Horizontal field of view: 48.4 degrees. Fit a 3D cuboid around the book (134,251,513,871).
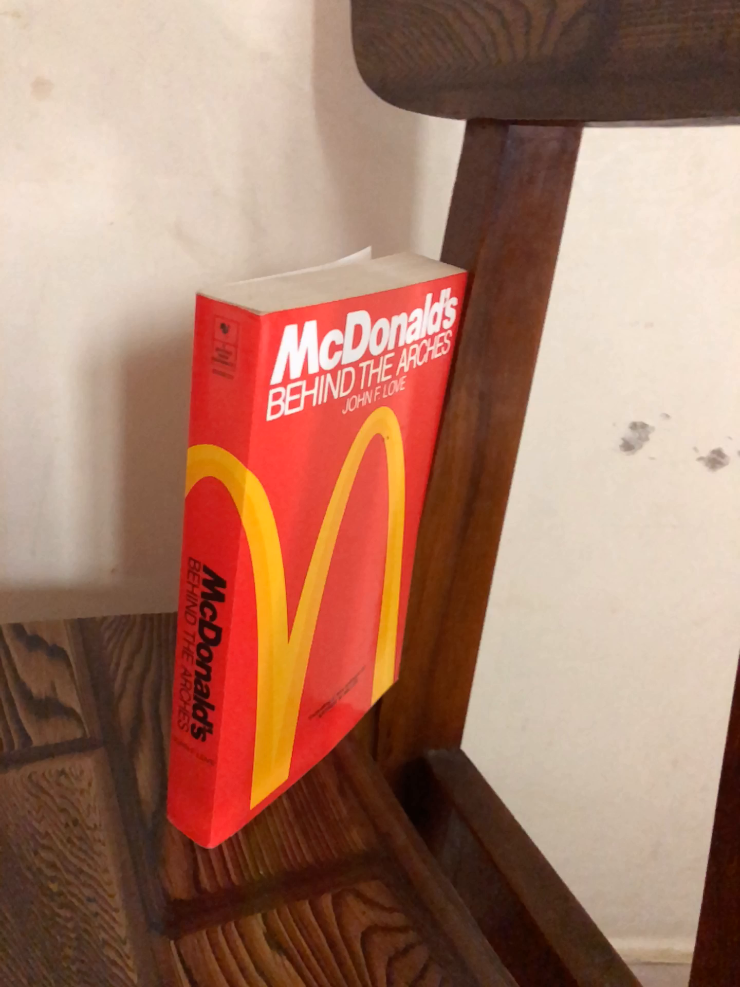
[{"bbox_3d":[-0.016,0.015,0.379,0.040,0.239,0.191,21,24,27],"label":"book"}]
